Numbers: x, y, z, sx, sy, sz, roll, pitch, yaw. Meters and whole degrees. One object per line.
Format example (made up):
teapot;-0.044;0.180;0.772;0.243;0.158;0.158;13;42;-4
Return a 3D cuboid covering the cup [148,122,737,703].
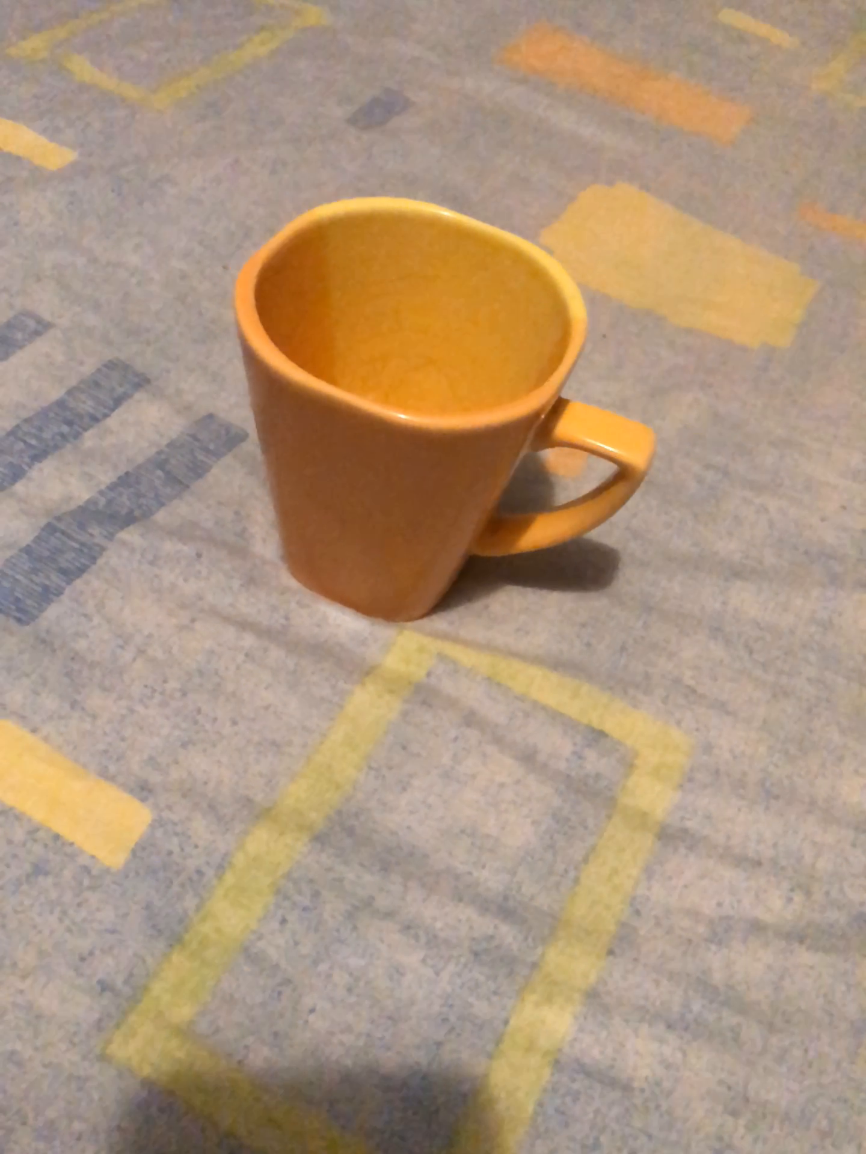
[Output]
cup;0.001;-0.043;0.254;0.111;0.082;0.084;25;54;9
